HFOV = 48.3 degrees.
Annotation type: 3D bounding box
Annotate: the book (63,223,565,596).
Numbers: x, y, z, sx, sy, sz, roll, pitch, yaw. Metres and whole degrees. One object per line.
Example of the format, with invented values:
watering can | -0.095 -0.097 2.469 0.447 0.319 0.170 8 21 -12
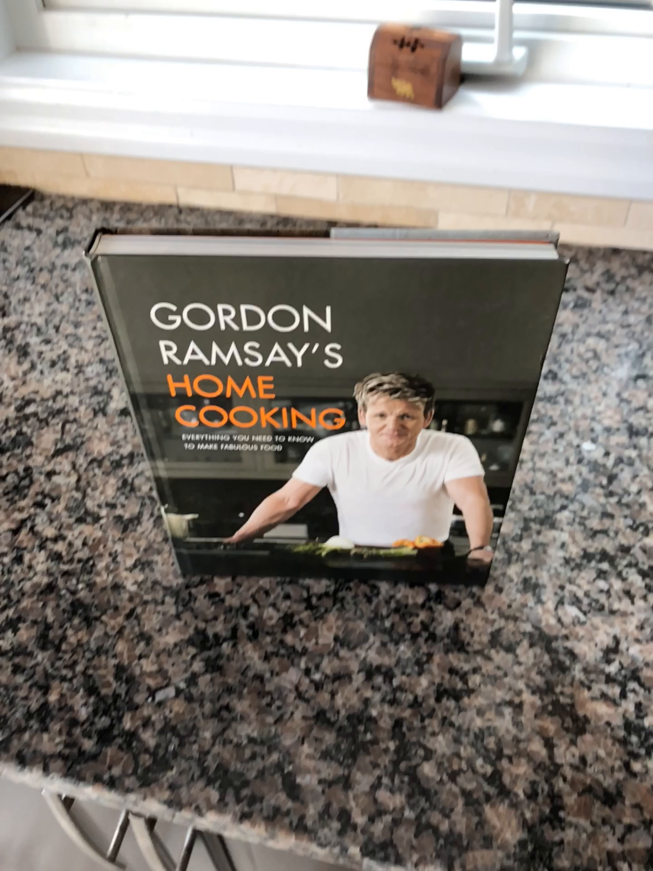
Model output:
book | -0.004 0.005 0.417 0.217 0.261 0.028 1 46 3
